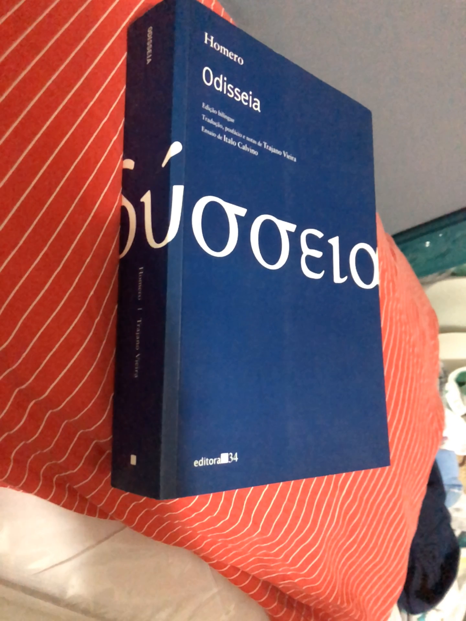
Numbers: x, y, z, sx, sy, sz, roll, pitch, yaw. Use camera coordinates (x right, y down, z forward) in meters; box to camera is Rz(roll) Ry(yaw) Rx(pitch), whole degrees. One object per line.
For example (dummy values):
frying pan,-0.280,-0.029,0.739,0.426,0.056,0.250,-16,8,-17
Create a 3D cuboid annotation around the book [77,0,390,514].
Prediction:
book,0.012,-0.029,0.277,0.171,0.040,0.230,7,78,-40
